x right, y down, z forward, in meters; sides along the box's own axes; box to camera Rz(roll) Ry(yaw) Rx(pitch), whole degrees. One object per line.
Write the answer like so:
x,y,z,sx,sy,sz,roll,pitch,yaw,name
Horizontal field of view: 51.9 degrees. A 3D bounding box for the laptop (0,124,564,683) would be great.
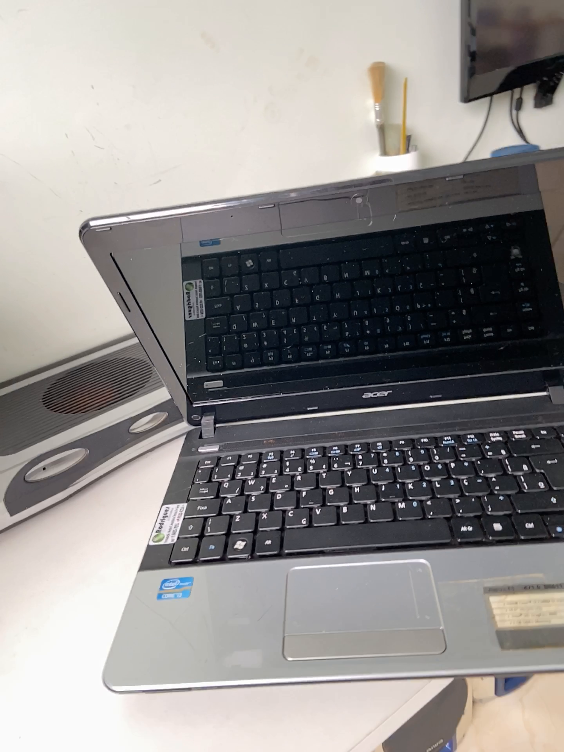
0.054,-0.001,0.349,0.326,0.211,0.240,-6,28,7,laptop
